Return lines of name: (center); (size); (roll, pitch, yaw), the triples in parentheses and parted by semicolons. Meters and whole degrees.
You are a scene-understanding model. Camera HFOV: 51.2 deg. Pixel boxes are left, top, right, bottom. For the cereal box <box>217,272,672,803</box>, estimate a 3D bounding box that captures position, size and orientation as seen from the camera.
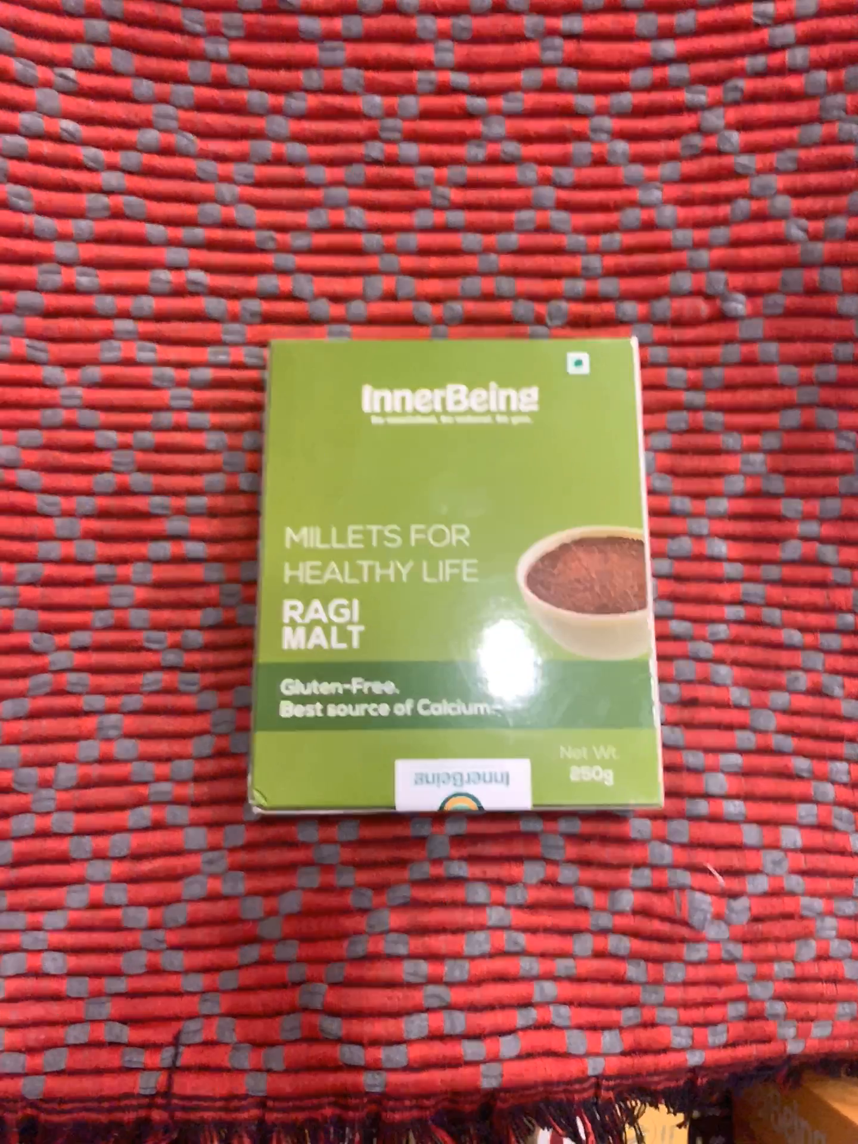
cereal box: (0.004, -0.011, 0.300); (0.130, 0.050, 0.170); (0, 76, 0)
